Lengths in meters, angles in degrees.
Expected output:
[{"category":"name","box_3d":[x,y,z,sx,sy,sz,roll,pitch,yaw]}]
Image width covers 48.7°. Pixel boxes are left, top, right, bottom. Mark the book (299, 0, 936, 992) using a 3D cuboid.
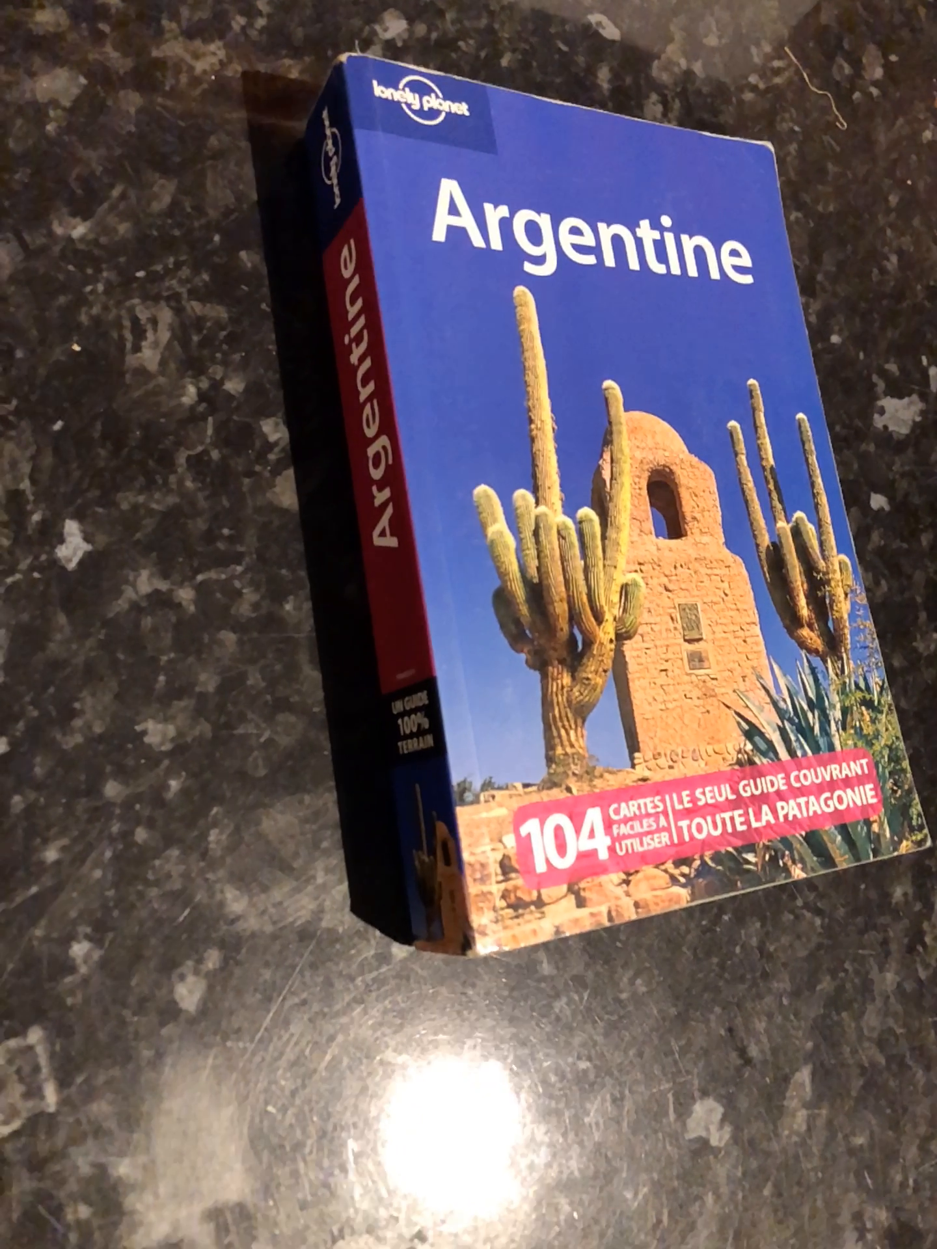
[{"category":"book","box_3d":[0.038,-0.035,0.252,0.130,0.030,0.210,-3,79,-30]}]
